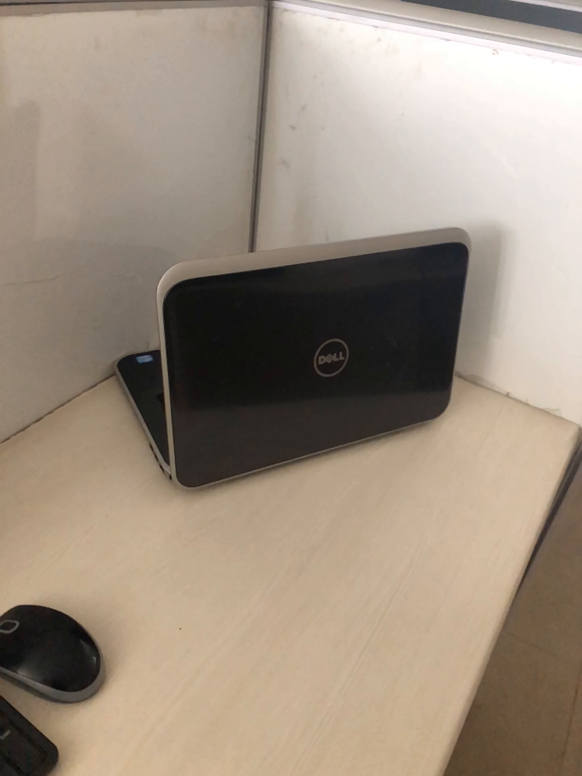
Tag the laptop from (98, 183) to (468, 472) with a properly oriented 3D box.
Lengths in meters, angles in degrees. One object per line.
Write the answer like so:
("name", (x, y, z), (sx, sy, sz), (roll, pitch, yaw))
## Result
("laptop", (-0.021, -0.095, 0.755), (0.334, 0.217, 0.240), (-13, 38, -29))
